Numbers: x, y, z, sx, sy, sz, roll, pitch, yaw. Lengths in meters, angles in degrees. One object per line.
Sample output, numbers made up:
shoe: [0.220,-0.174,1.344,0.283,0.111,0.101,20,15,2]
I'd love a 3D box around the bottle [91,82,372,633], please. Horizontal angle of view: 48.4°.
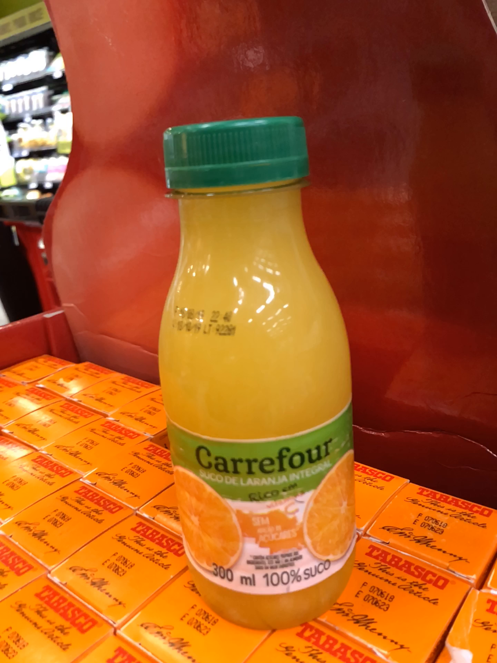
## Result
bottle: [0.002,0.011,0.168,0.060,0.149,0.050,-4,18,3]
